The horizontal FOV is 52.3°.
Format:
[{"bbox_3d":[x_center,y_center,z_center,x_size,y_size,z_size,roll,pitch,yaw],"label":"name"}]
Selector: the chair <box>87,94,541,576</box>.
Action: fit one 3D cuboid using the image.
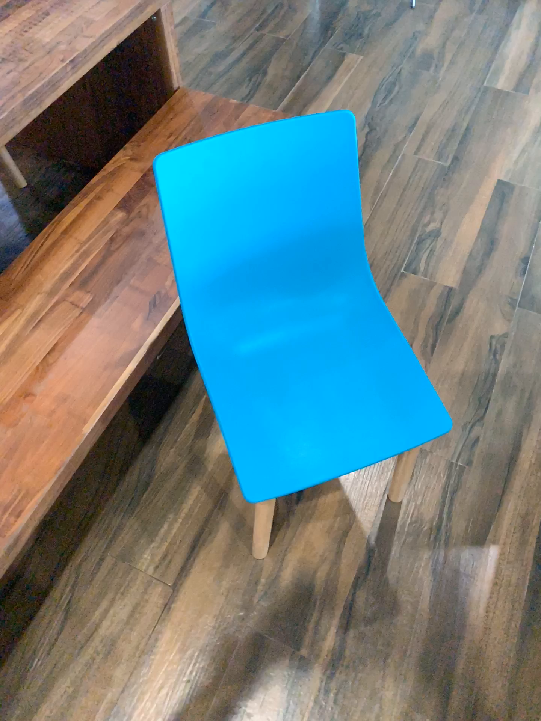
[{"bbox_3d":[0.030,-0.017,1.117,0.510,0.666,0.583,-18,58,-11],"label":"chair"}]
